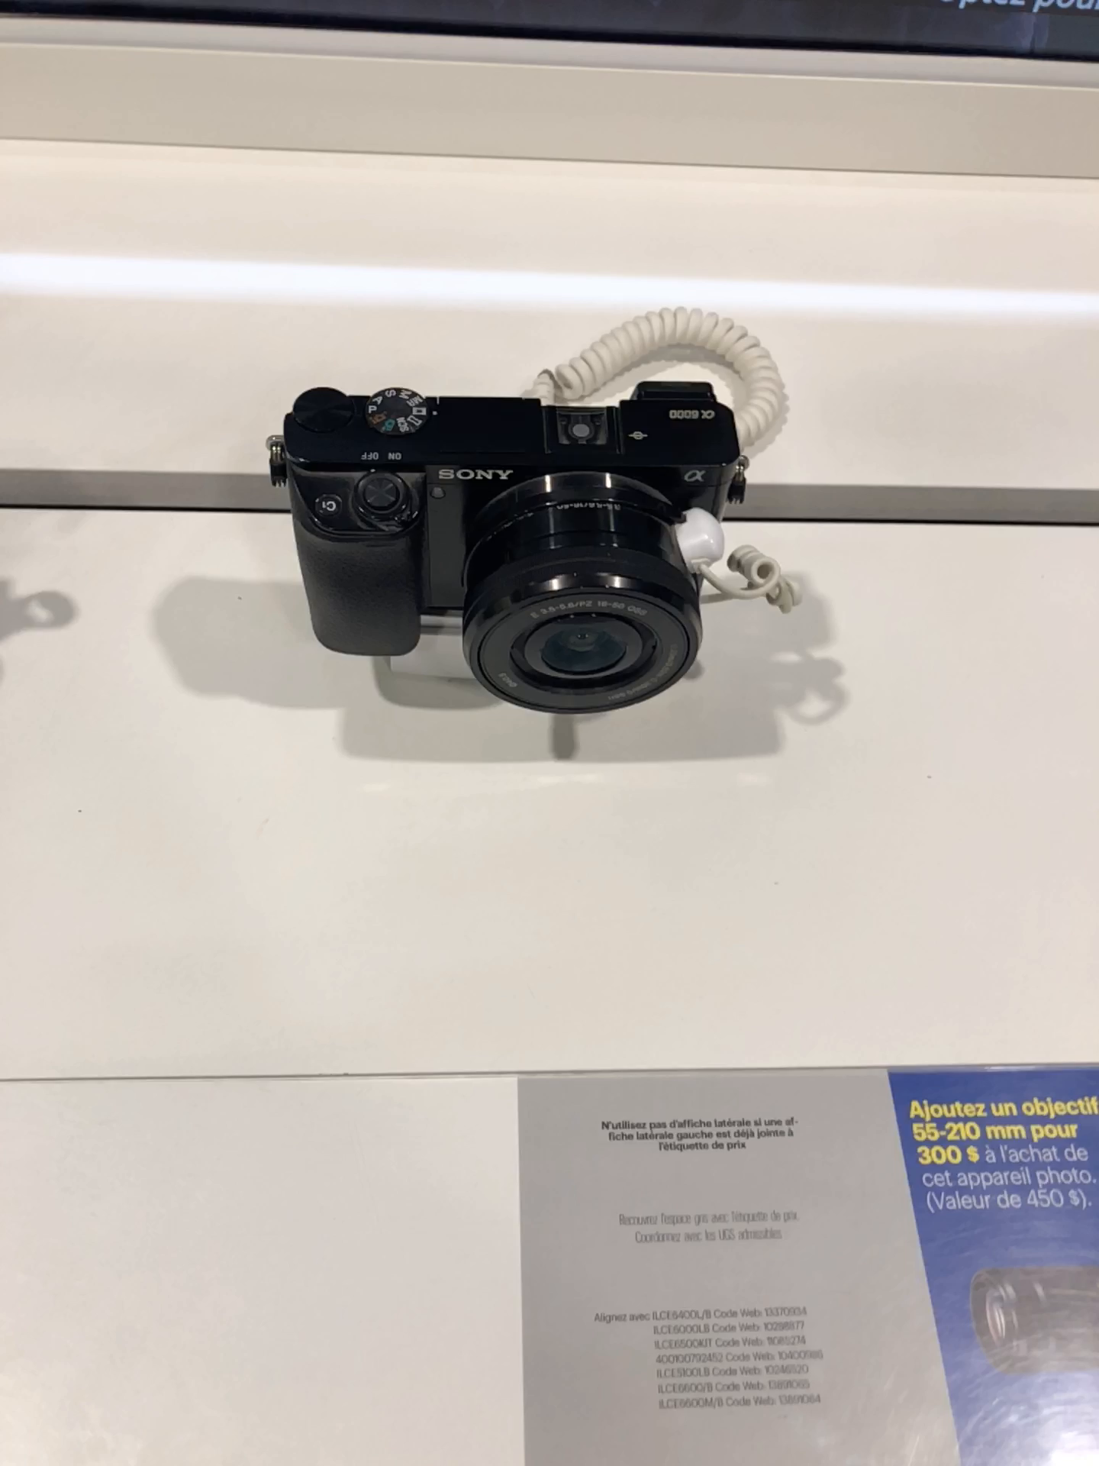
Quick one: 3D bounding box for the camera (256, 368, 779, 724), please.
[{"bbox_3d":[-0.010,-0.052,0.354,0.130,0.077,0.065,-2,57,-4],"label":"camera"}]
